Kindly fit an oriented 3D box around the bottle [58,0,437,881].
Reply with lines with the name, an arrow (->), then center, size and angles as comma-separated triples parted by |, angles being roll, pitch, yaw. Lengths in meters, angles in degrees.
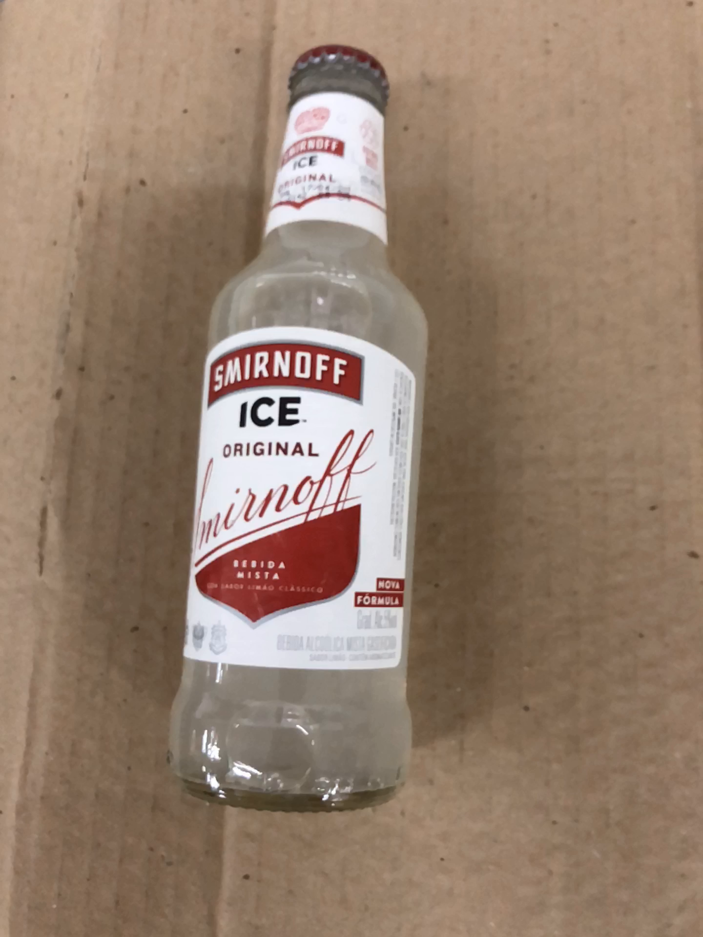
bottle -> -0.017, -0.021, 0.197 | 0.070, 0.050, 0.210 | 2, 81, 6
